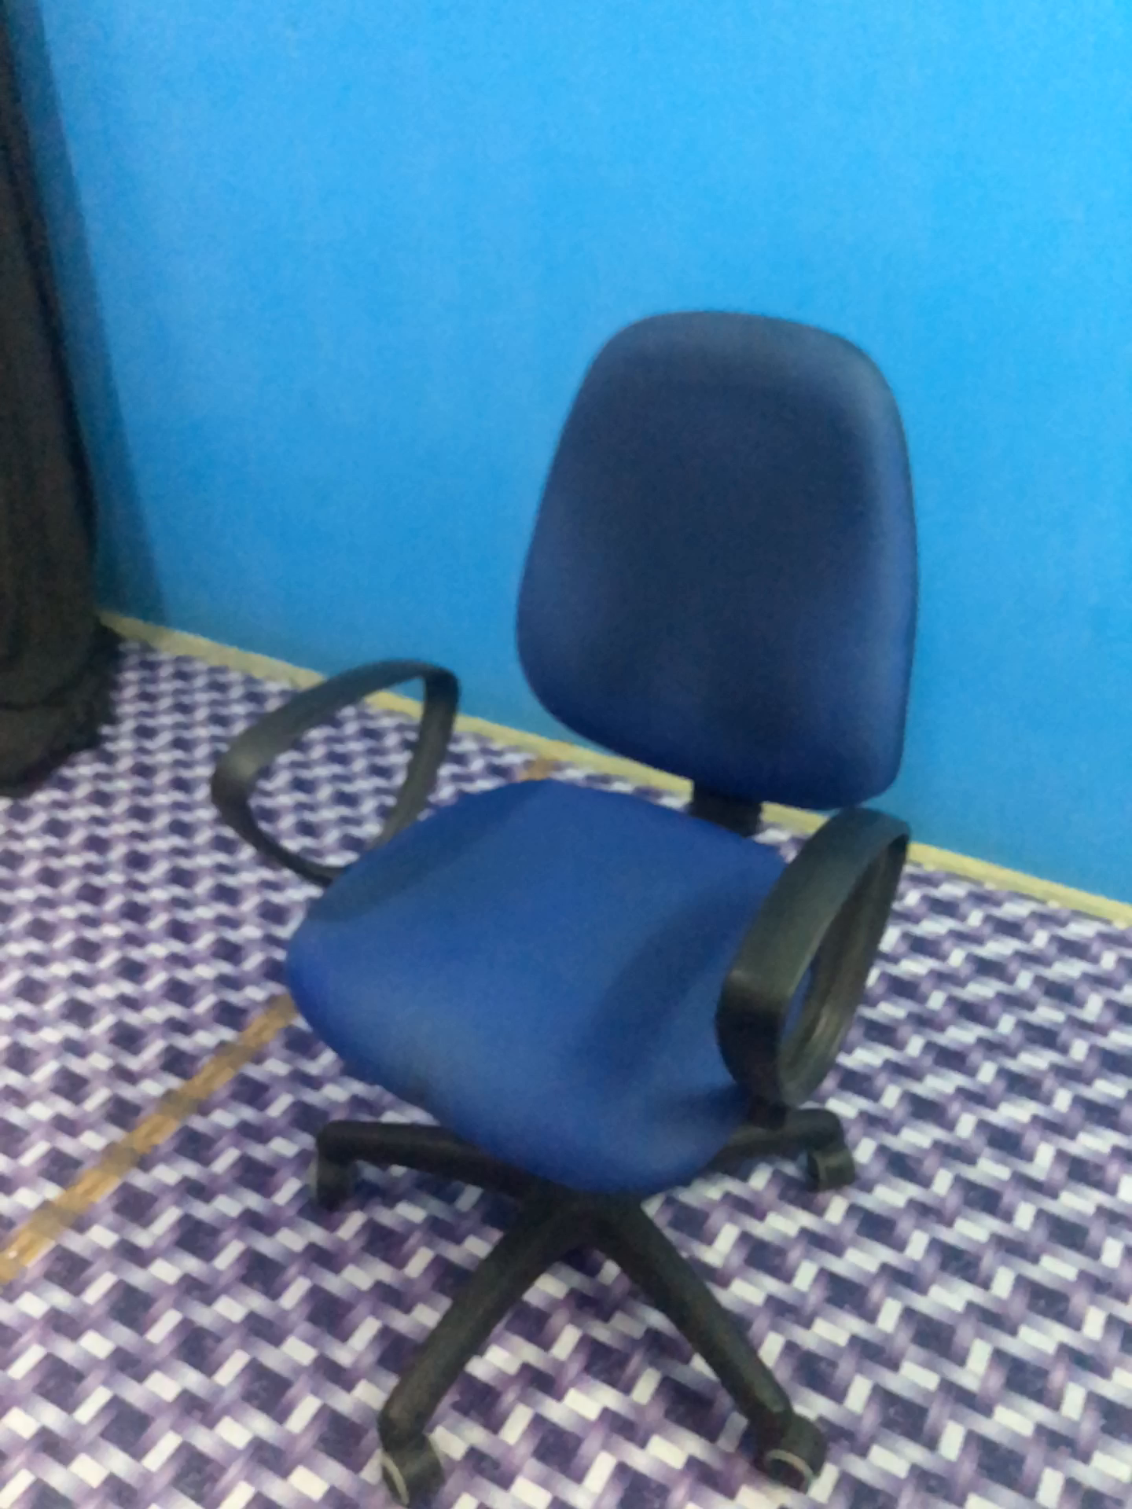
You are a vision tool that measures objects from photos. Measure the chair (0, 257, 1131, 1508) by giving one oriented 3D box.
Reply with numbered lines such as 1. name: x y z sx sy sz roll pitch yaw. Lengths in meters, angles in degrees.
1. chair: -0.009 0.132 1.140 0.700 0.915 0.693 21 38 31
